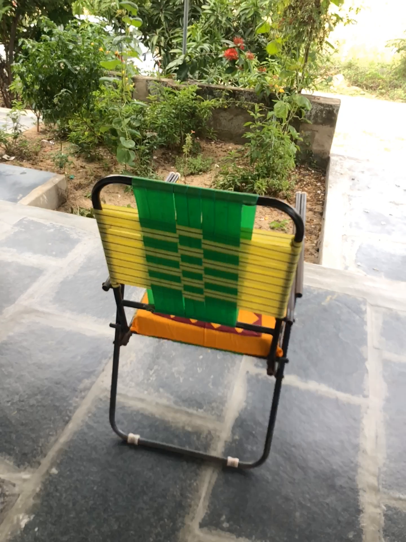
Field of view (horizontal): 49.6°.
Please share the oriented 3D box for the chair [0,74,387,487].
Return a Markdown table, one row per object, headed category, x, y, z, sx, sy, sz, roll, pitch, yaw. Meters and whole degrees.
| category | x | y | z | sx | sy | sz | roll | pitch | yaw |
| --- | --- | --- | --- | --- | --- | --- | --- | --- | --- |
| chair | 0.015 | -0.010 | 1.243 | 0.660 | 0.825 | 0.684 | 9 | 36 | 8 |
